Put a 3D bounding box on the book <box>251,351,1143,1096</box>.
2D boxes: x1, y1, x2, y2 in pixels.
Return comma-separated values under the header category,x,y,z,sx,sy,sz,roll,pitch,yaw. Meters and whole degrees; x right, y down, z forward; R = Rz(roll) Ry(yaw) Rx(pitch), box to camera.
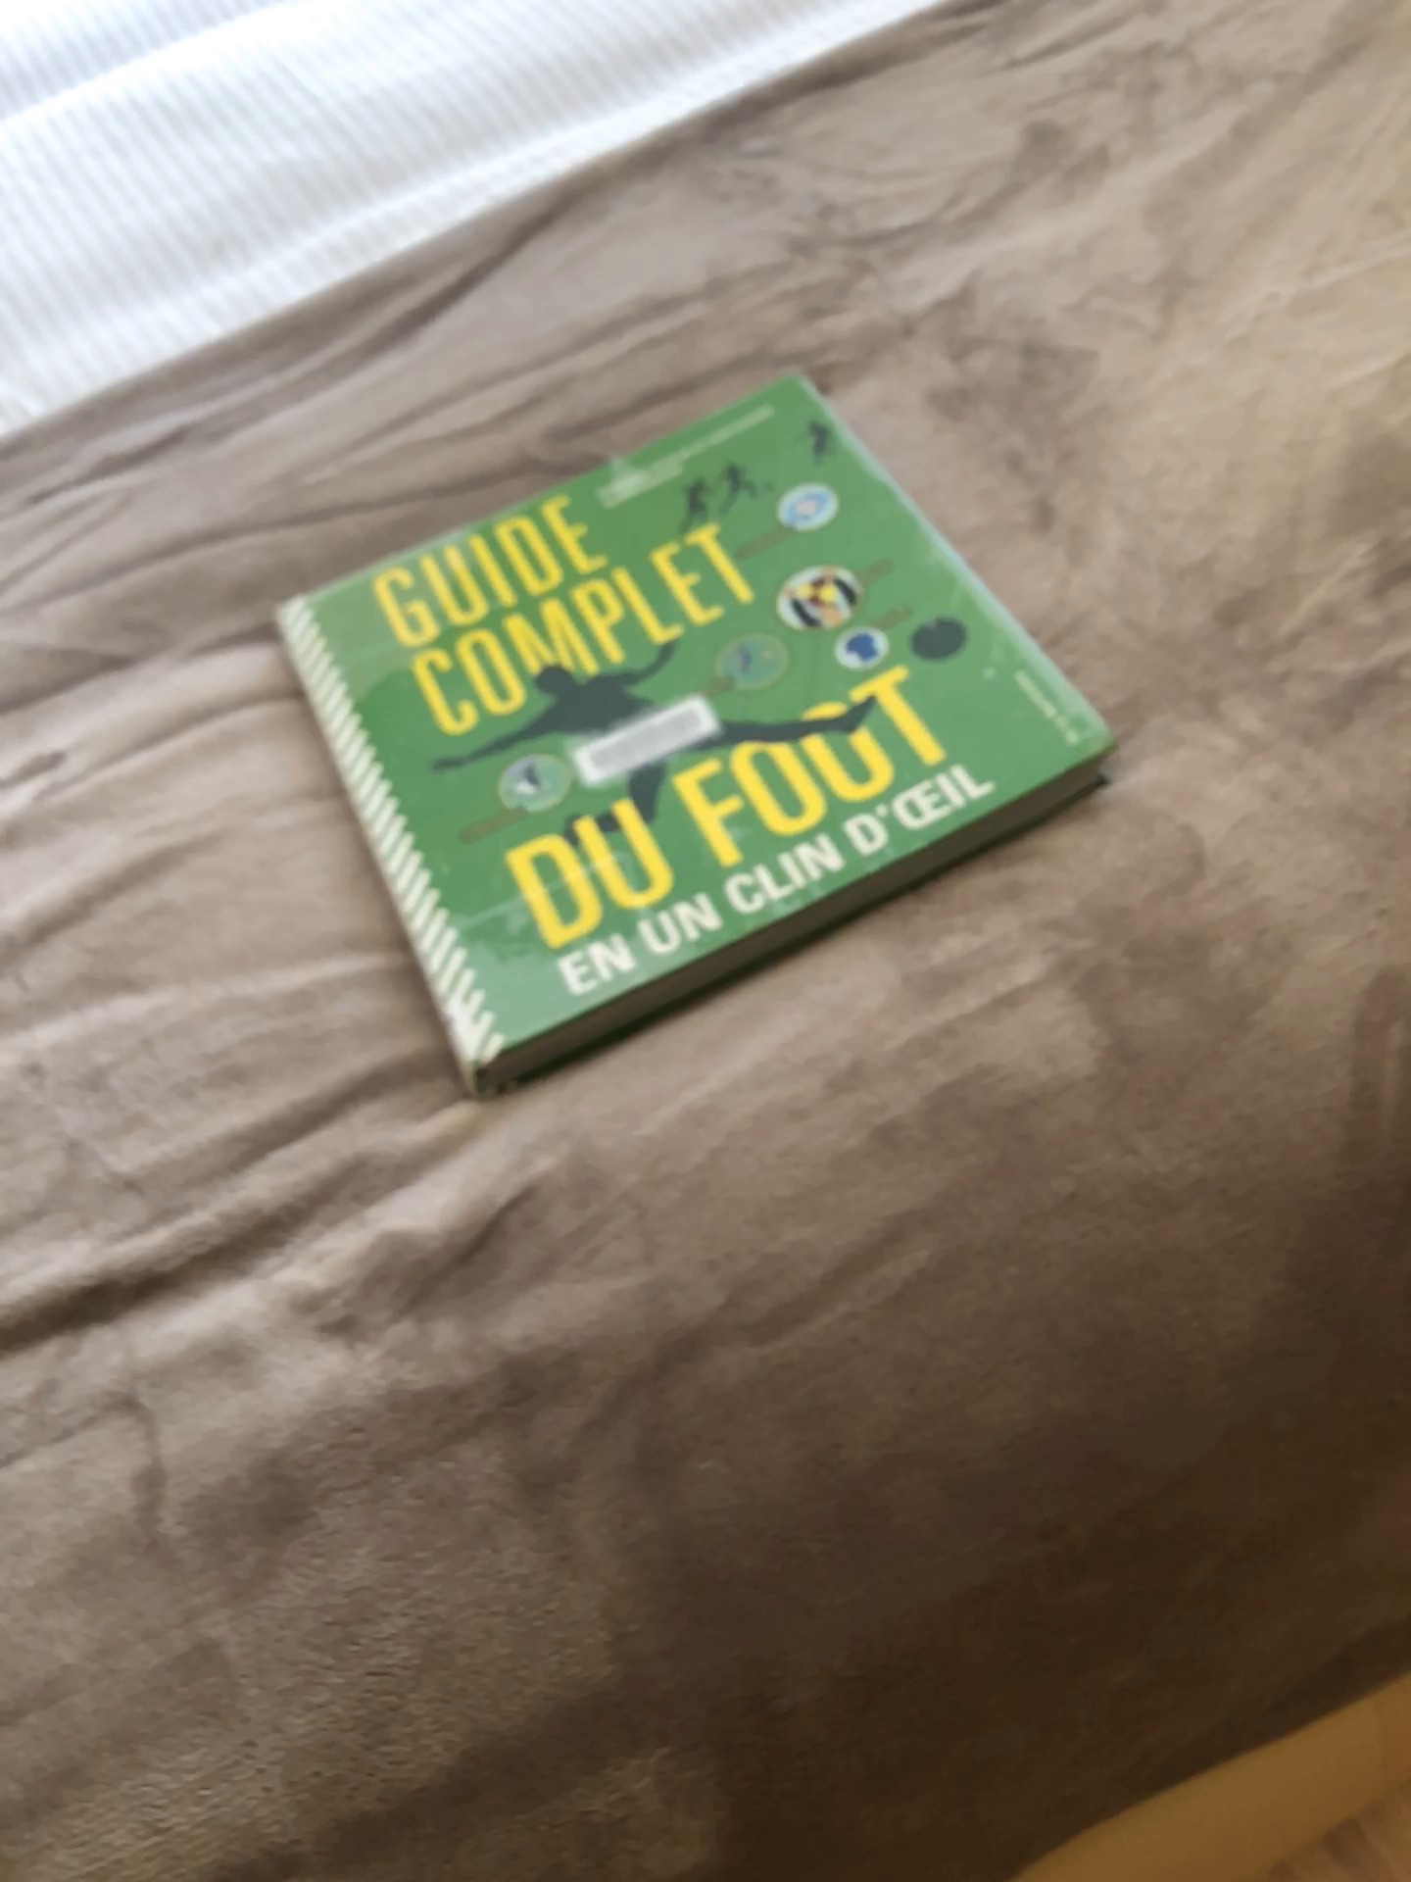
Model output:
category,x,y,z,sx,sy,sz,roll,pitch,yaw
book,-0.016,-0.093,0.541,0.228,0.019,0.239,-25,55,-7
